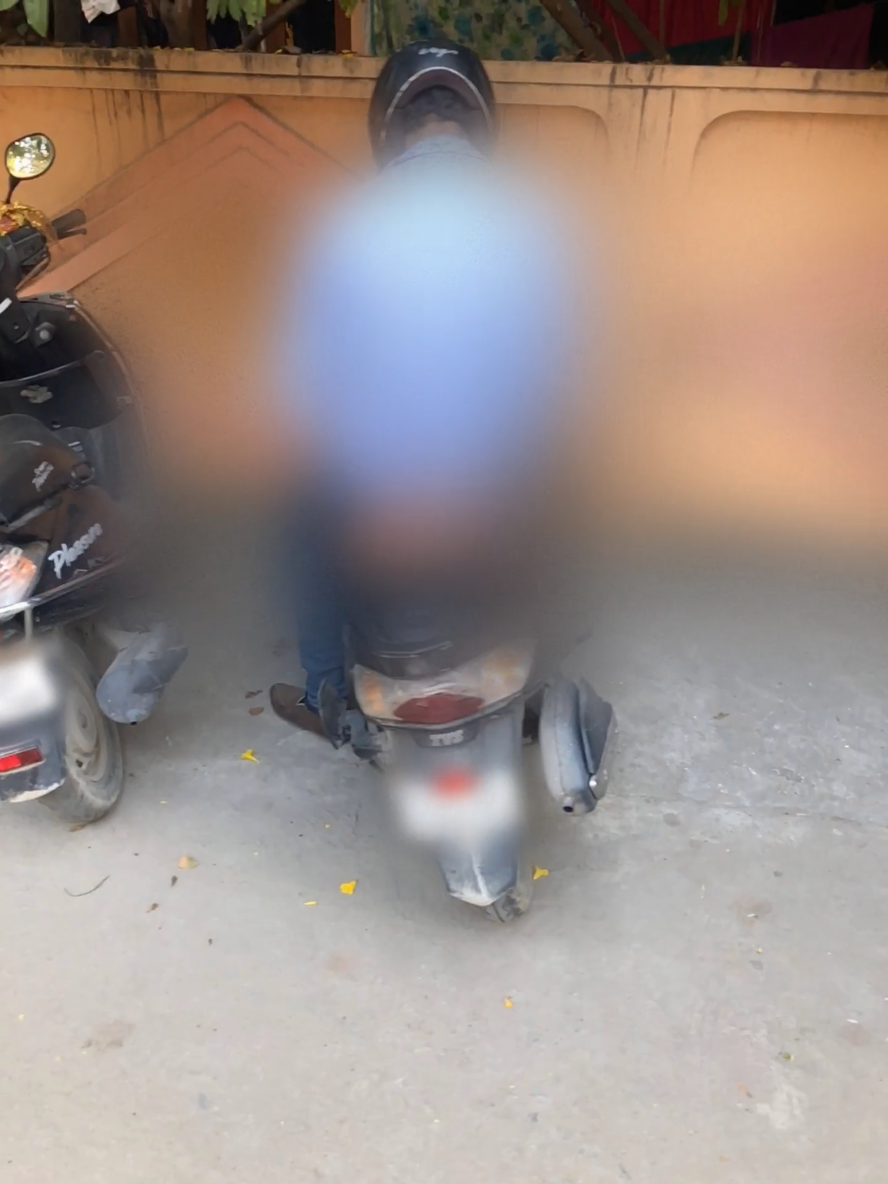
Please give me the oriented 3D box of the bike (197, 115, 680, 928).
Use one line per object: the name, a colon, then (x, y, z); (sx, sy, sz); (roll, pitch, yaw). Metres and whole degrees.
bike: (-0.128, -0.257, 2.032); (0.628, 1.037, 1.327); (-3, 34, -8)
